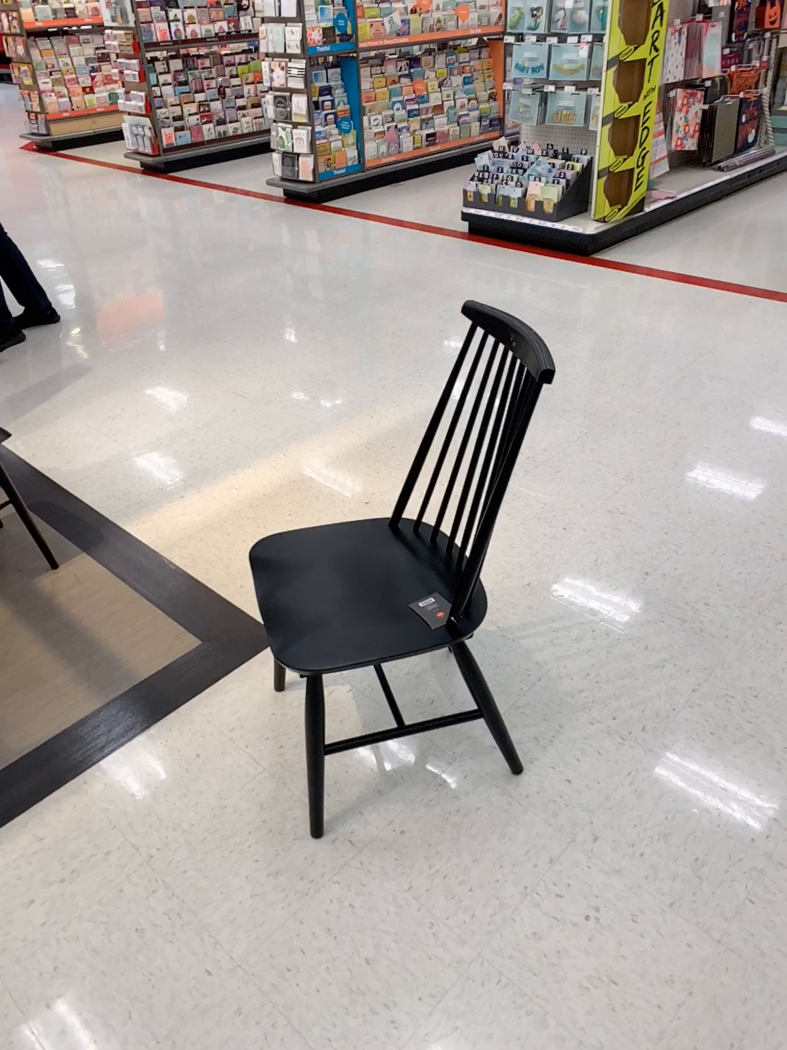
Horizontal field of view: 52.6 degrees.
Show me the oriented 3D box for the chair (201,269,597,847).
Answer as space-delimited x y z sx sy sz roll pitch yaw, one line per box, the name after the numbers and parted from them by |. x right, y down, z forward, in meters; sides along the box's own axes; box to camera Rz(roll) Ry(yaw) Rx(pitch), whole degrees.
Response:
-0.013 0.066 1.603 0.550 0.945 0.533 -10 35 -11 | chair
